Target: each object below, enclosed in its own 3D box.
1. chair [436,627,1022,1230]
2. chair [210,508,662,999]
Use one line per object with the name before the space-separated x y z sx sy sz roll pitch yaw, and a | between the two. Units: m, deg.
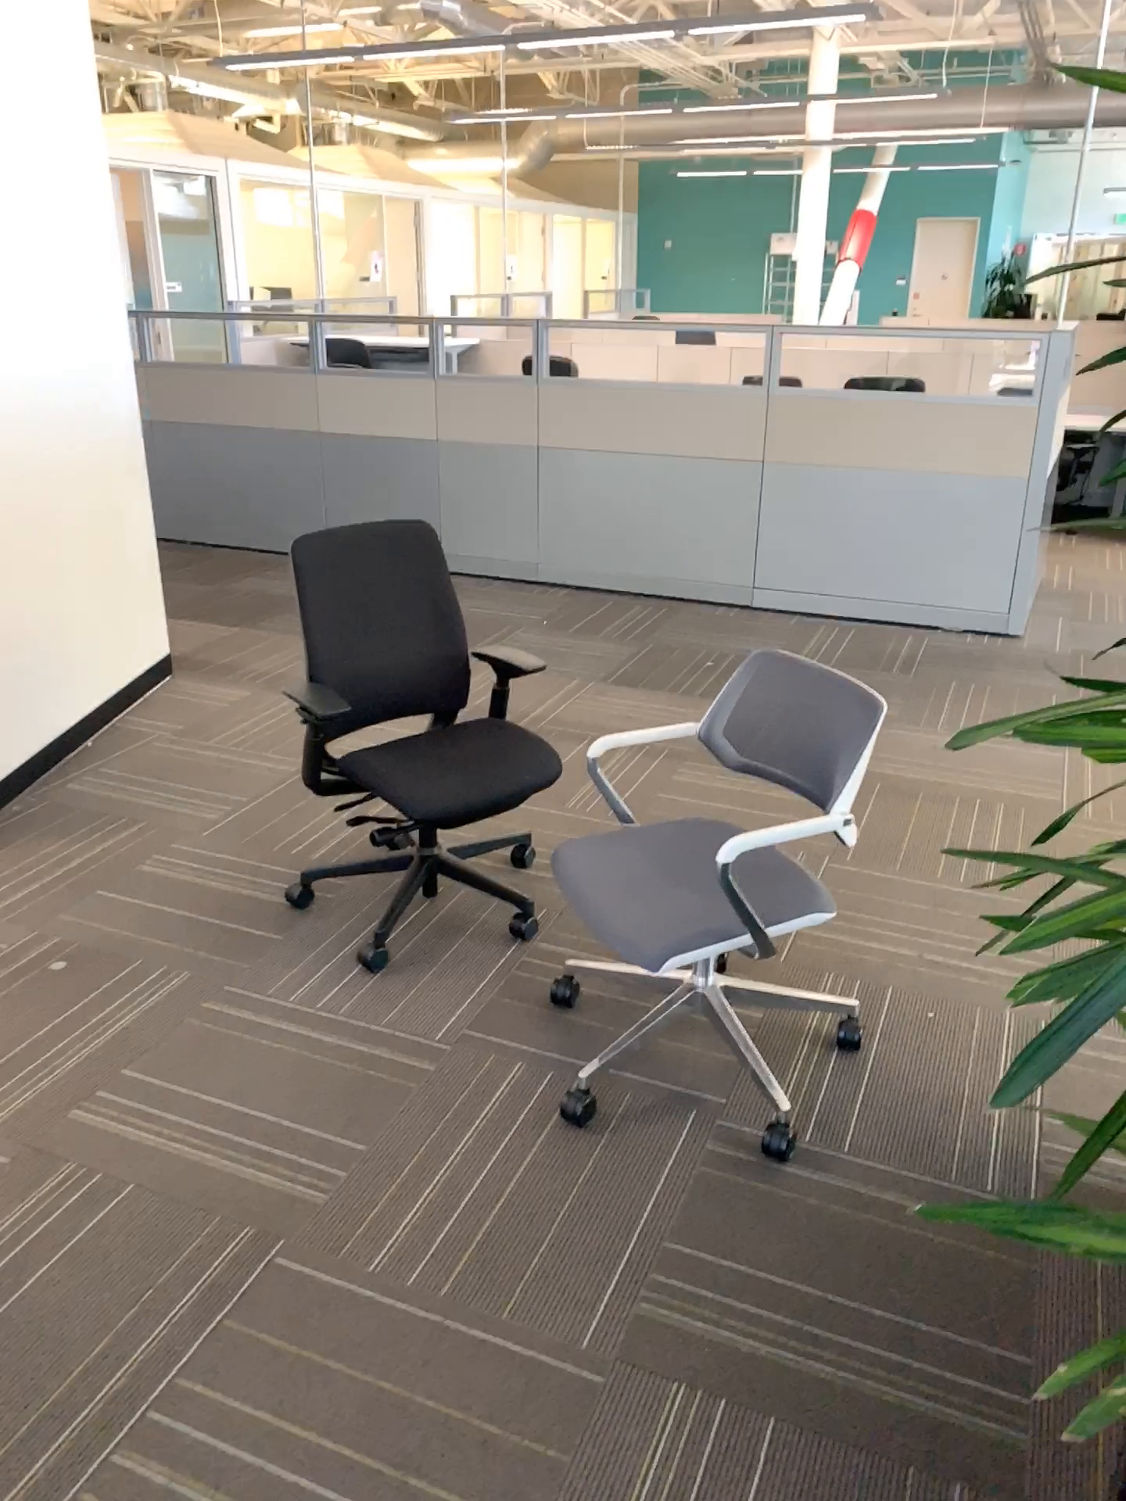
chair | 0.279 0.268 2.342 0.790 0.756 0.804 -12 25 -28
chair | -0.340 -0.070 2.948 0.800 0.885 0.854 -12 25 -29
